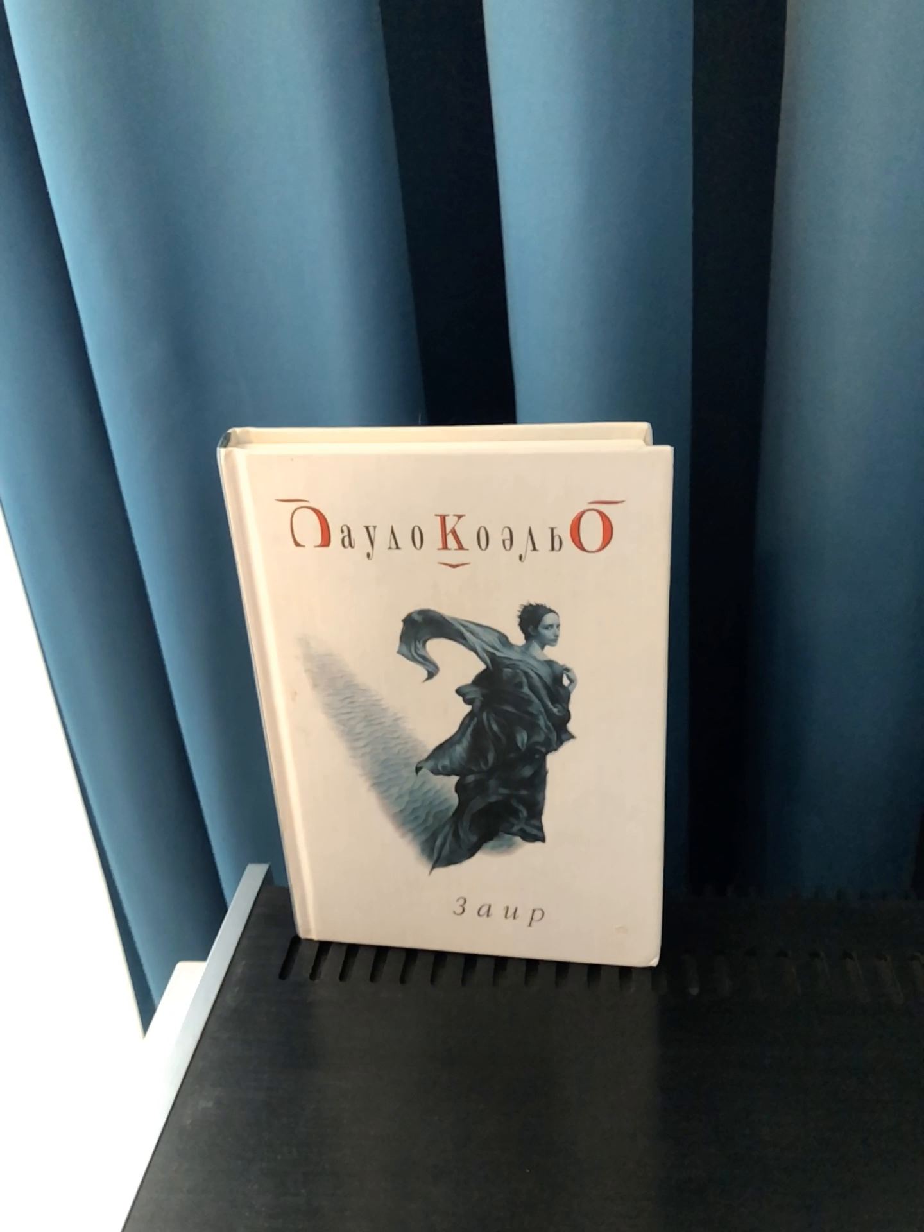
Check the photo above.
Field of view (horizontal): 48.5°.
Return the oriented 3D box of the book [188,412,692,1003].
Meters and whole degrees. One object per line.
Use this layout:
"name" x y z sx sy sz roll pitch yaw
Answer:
"book" 0.001 0.032 0.308 0.130 0.179 0.030 1 26 12
